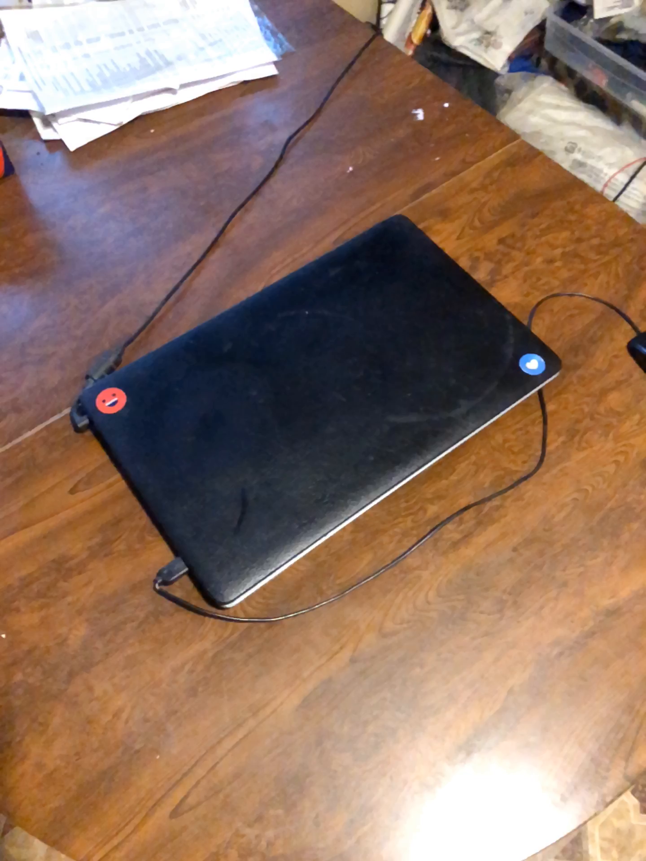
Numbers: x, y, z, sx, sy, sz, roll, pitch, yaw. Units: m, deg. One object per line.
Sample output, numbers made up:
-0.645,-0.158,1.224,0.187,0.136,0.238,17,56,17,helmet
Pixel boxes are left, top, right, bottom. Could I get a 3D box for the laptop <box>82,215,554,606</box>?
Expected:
-0.001,-0.046,0.650,0.366,0.007,0.239,-33,66,-18,laptop
